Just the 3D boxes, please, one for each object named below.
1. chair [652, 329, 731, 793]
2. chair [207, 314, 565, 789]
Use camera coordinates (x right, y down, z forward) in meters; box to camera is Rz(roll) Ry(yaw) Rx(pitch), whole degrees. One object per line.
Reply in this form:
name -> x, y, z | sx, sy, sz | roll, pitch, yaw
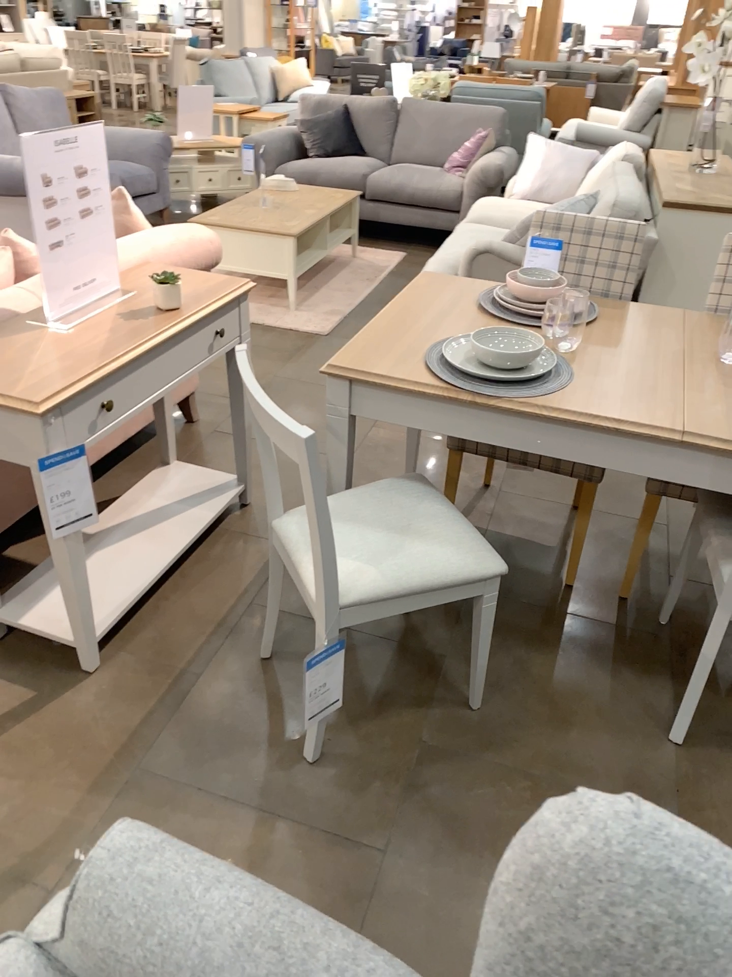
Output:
chair -> 0.987, 0.149, 1.695 | 0.430, 0.817, 0.539 | 11, 33, 13
chair -> 0.002, 0.118, 1.629 | 0.535, 0.817, 0.464 | -12, 35, -22
